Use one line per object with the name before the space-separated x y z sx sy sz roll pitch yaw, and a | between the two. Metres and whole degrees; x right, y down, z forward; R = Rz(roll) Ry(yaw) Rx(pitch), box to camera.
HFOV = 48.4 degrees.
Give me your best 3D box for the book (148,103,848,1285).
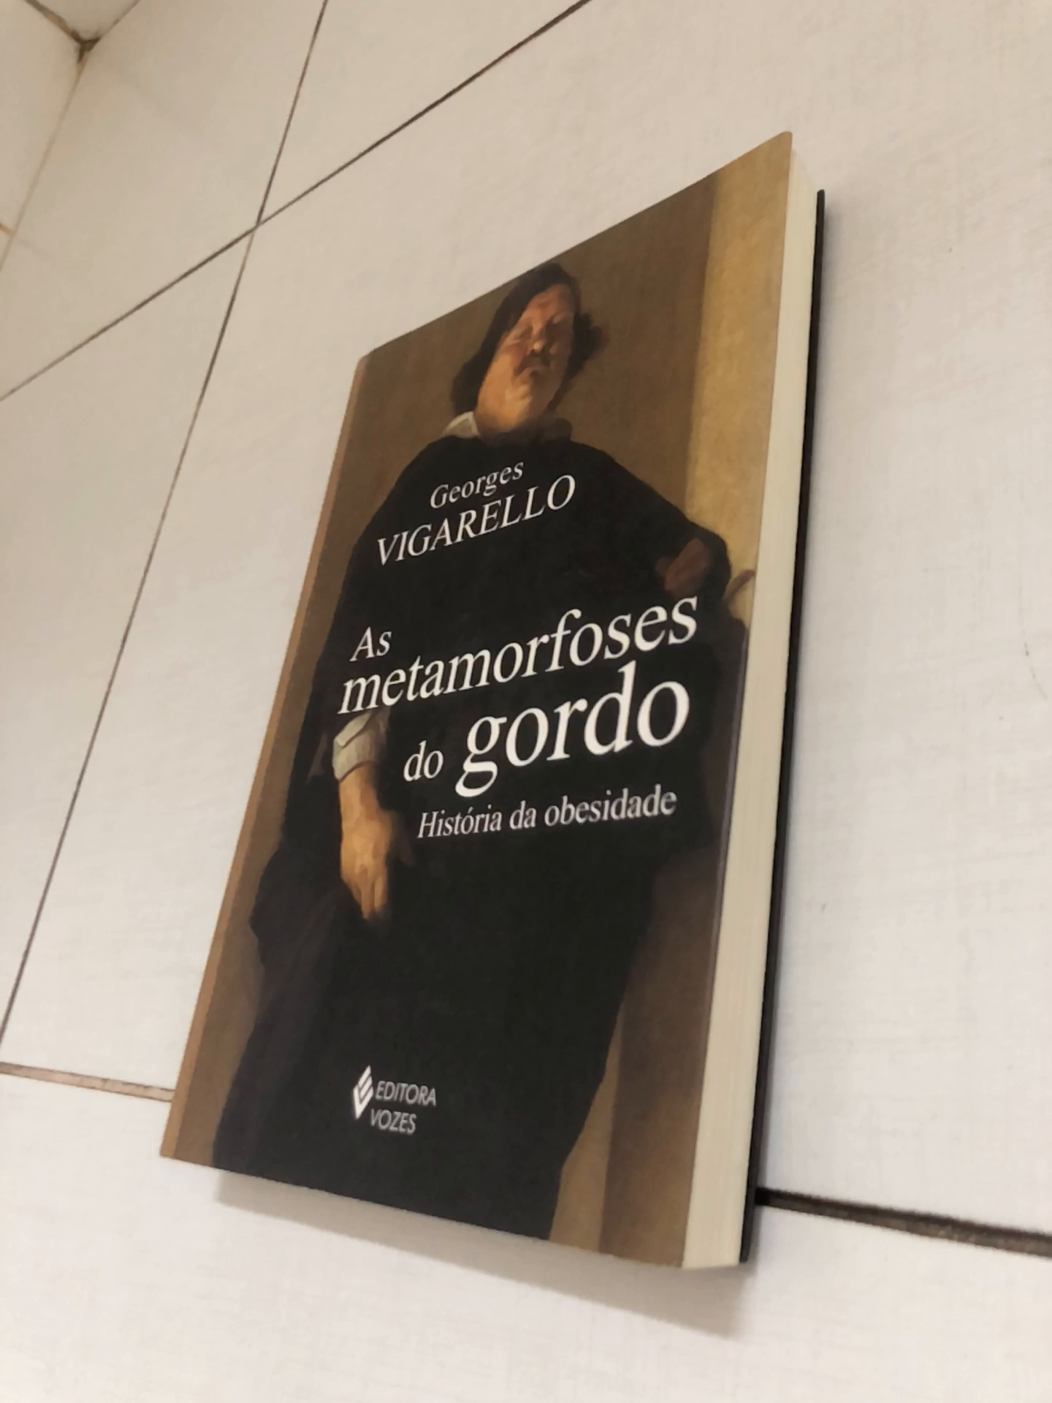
book | -0.006 -0.006 0.241 0.137 0.023 0.204 -12 61 42
